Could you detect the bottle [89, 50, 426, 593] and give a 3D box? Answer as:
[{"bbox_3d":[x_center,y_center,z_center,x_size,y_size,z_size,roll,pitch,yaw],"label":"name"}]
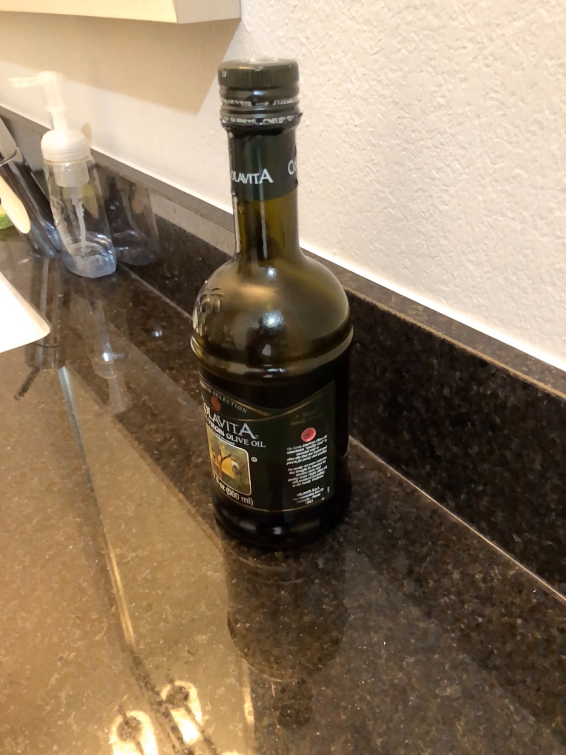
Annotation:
[{"bbox_3d":[-0.007,-0.024,0.295,0.090,0.219,0.090,-2,33,1],"label":"bottle"}]
